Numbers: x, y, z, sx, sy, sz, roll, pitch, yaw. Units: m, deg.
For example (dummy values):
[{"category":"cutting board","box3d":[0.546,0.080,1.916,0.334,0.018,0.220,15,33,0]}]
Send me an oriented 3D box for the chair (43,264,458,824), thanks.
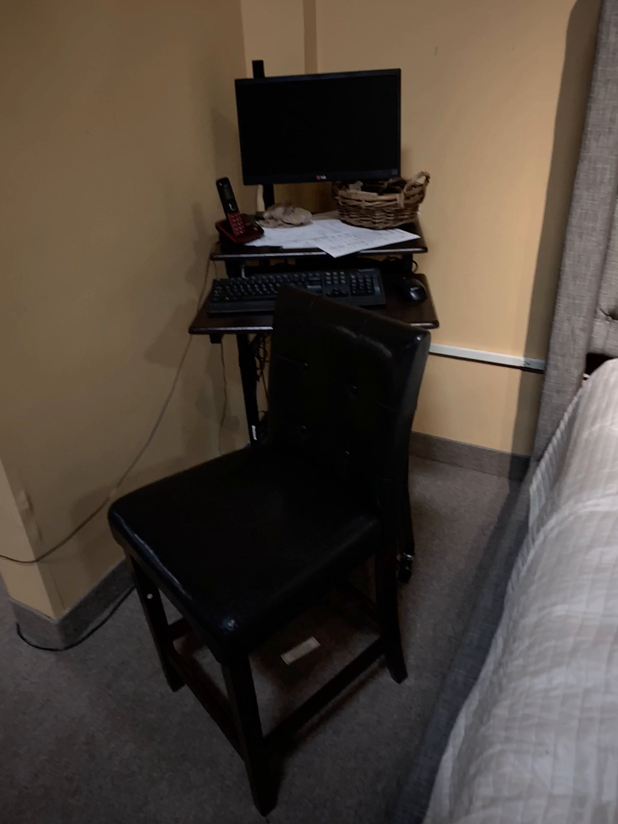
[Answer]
[{"category":"chair","box3d":[-0.101,0.246,1.353,0.518,0.913,0.560,-24,36,-32]}]
